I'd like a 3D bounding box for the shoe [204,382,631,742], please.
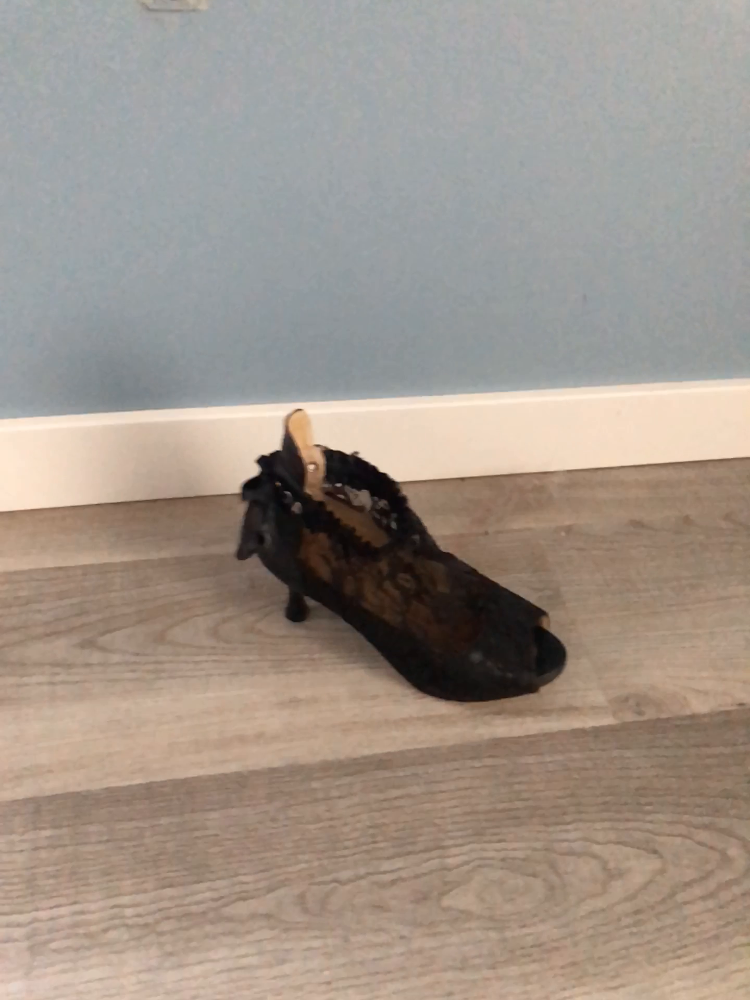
[{"bbox_3d":[0.024,0.037,0.513,0.220,0.140,0.100,16,46,11],"label":"shoe"}]
